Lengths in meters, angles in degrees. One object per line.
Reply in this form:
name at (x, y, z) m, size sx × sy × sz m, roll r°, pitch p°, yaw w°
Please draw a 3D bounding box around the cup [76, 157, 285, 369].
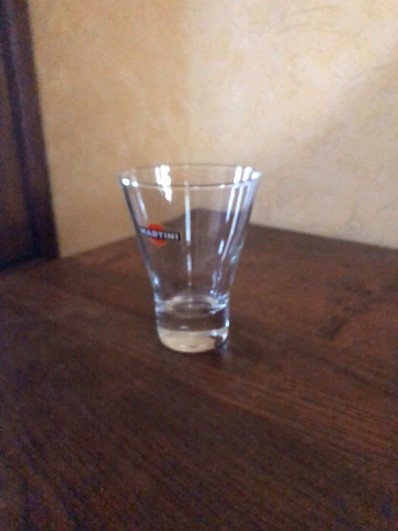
cup at (-0.006, -0.012, 0.292) m, size 0.090 × 0.100 × 0.101 m, roll 10°, pitch 22°, yaw 27°
